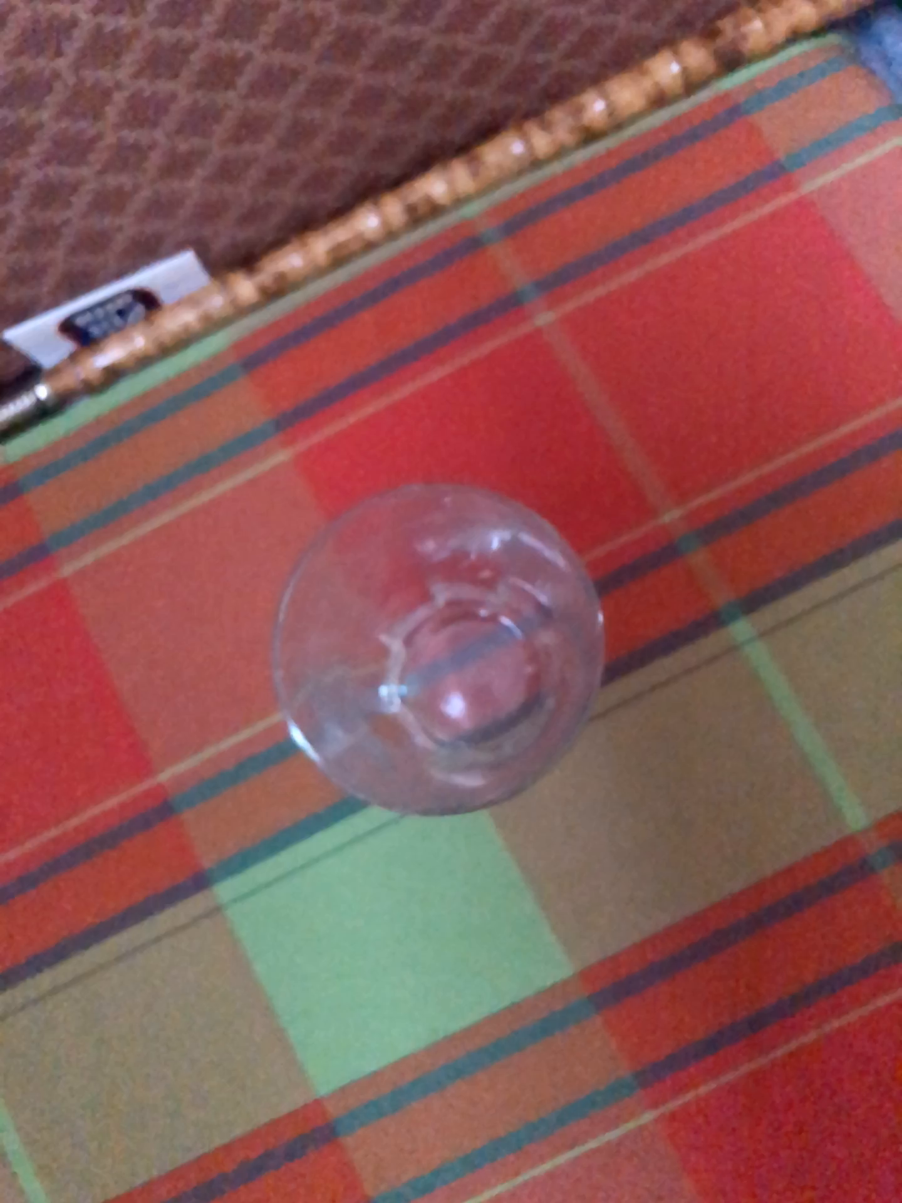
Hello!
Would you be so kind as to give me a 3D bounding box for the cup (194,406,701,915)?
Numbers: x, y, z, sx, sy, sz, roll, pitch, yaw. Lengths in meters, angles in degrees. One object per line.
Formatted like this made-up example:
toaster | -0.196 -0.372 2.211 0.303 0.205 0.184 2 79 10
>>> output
cup | 0.002 0.015 0.238 0.070 0.080 0.070 -1 82 4
